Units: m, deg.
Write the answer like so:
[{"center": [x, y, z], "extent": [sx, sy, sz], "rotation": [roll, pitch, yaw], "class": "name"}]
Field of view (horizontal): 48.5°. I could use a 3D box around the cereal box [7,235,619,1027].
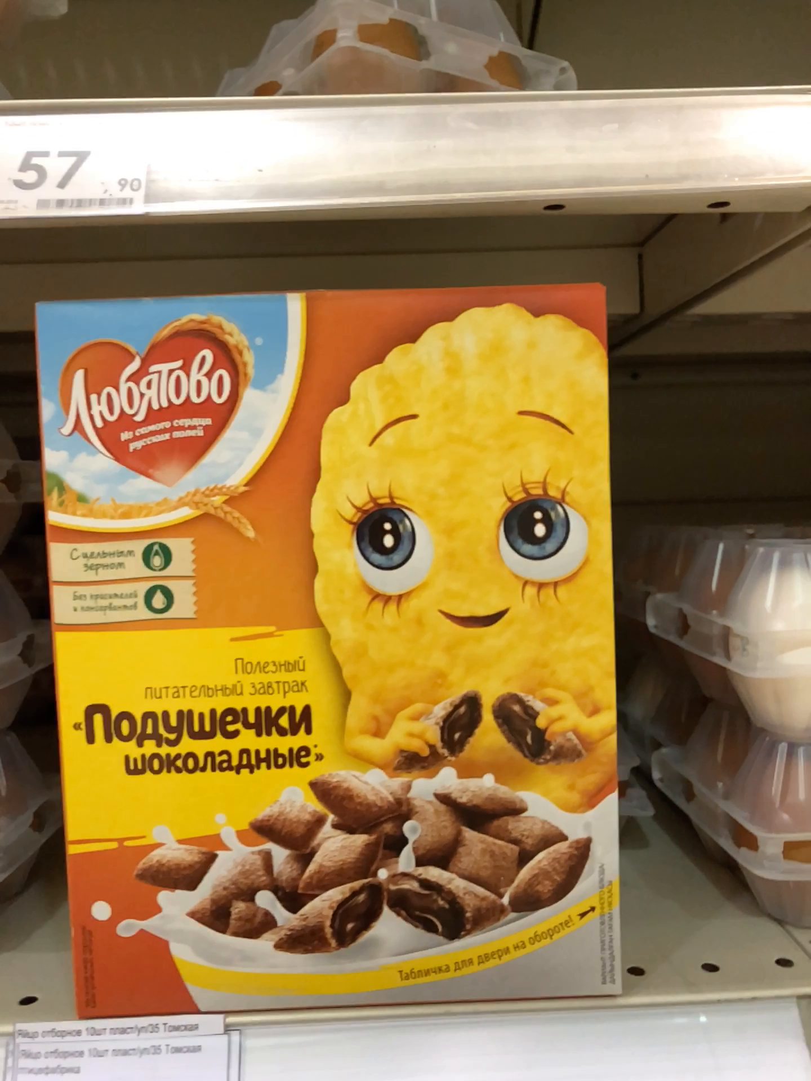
[{"center": [-0.026, 0.028, 0.297], "extent": [0.180, 0.240, 0.040], "rotation": [-2, 3, -1], "class": "cereal box"}]
